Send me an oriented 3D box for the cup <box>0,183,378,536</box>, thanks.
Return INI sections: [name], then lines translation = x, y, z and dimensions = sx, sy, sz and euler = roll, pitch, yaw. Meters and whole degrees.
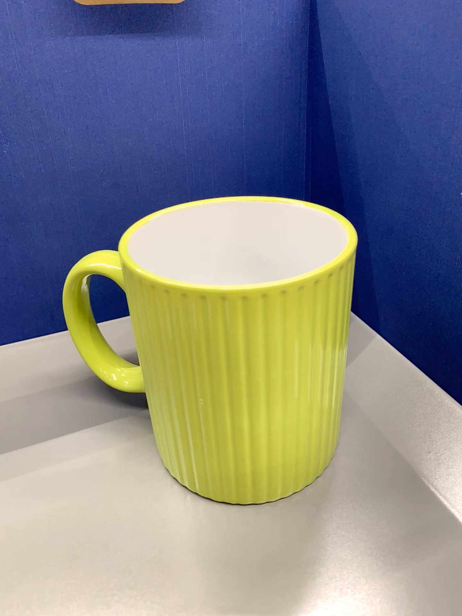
[cup]
translation = -0.012, 0.009, 0.208
dimensions = 0.129, 0.098, 0.091
euler = 8, 30, 19
